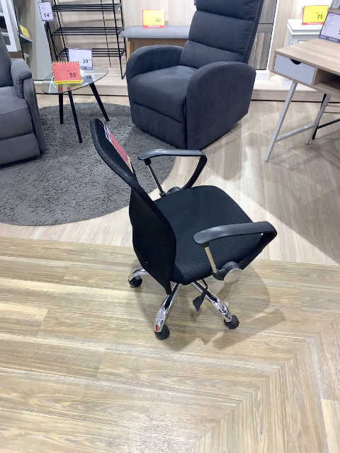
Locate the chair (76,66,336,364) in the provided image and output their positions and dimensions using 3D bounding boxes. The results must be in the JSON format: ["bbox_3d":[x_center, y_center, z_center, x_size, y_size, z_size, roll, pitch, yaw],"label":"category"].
[{"bbox_3d":[0.075,-0.047,1.398,0.601,0.865,0.643,-17,45,-15],"label":"chair"}]
